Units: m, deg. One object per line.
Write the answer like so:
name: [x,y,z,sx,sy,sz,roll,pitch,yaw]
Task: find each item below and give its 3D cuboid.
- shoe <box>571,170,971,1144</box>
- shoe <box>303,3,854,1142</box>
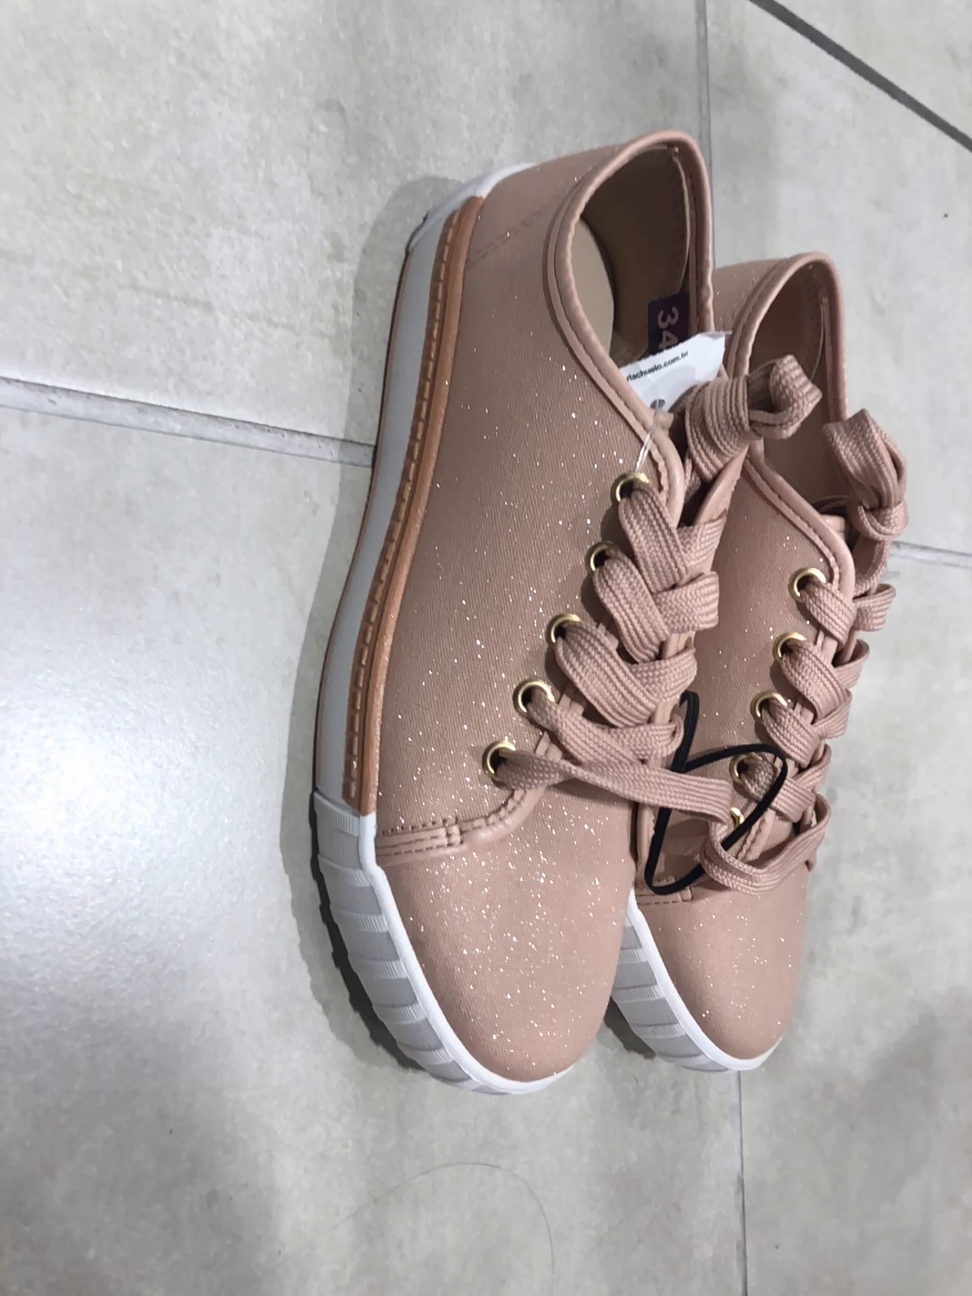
shoe: [0.096,0.003,0.333,0.091,0.099,0.240,2,85,-40]
shoe: [0.027,-0.015,0.290,0.090,0.099,0.240,10,80,-40]
